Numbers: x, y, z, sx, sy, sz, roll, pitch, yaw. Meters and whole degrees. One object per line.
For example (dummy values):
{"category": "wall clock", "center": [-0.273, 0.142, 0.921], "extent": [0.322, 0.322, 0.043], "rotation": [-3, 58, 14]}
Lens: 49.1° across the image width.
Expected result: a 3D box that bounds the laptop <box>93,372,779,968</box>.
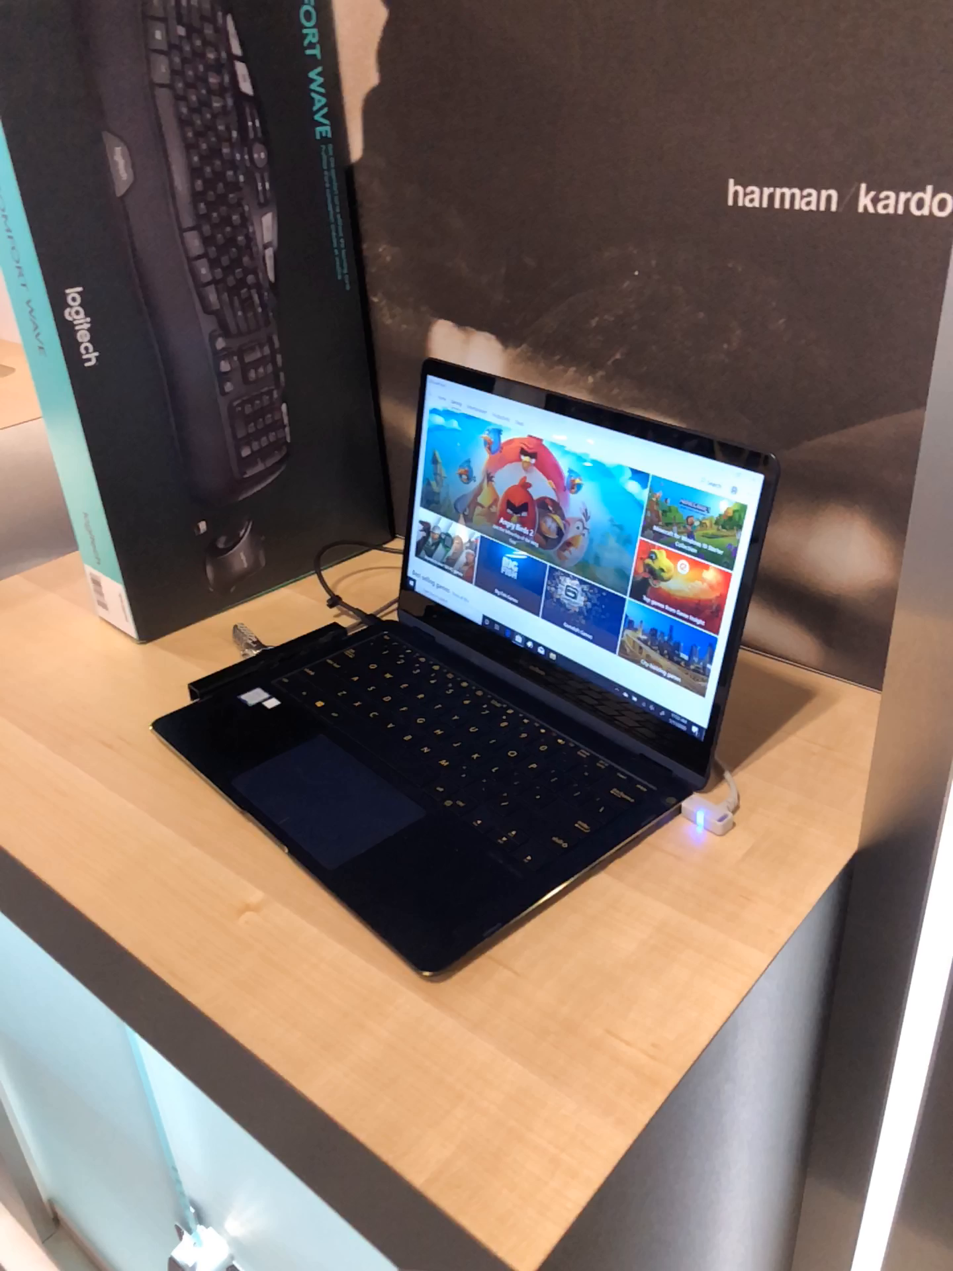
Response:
{"category": "laptop", "center": [-0.027, -0.014, 0.626], "extent": [0.248, 0.190, 0.292], "rotation": [-25, 36, -34]}
